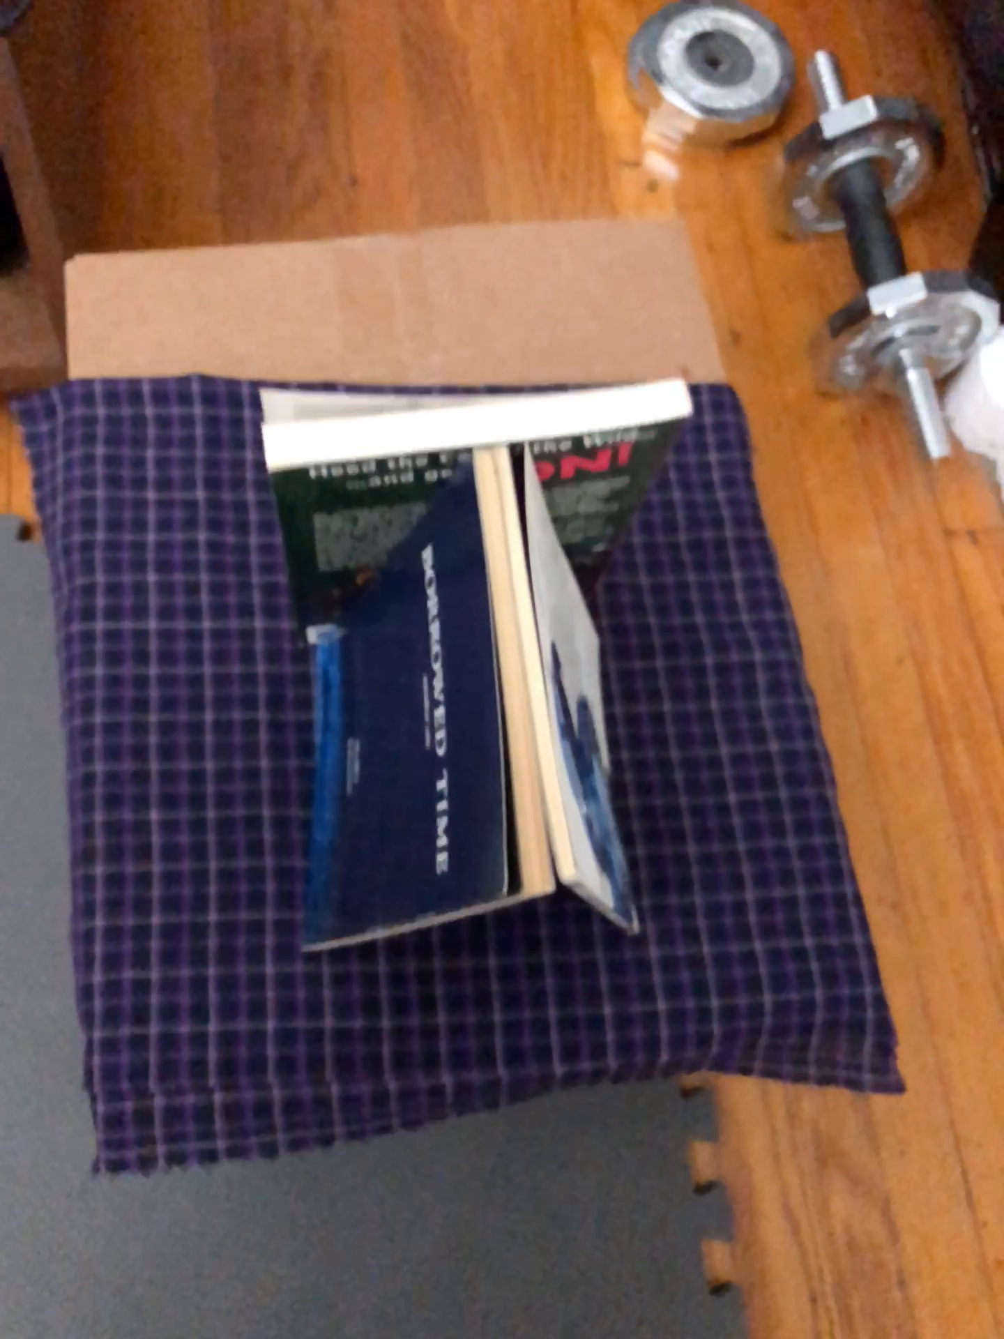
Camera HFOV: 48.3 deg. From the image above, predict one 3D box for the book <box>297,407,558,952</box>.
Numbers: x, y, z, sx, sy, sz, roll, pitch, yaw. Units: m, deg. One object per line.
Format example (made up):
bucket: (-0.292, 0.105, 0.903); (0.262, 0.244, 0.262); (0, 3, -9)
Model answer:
book: (-0.040, 0.019, 0.416); (0.010, 0.200, 0.150); (5, 70, -27)

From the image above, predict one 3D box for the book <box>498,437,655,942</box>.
book: (0.033, 0.023, 0.421); (0.010, 0.200, 0.140); (-11, 71, 9)

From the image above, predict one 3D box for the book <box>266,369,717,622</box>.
book: (-0.014, -0.059, 0.440); (0.140, 0.190, 0.020); (-6, 79, -9)
